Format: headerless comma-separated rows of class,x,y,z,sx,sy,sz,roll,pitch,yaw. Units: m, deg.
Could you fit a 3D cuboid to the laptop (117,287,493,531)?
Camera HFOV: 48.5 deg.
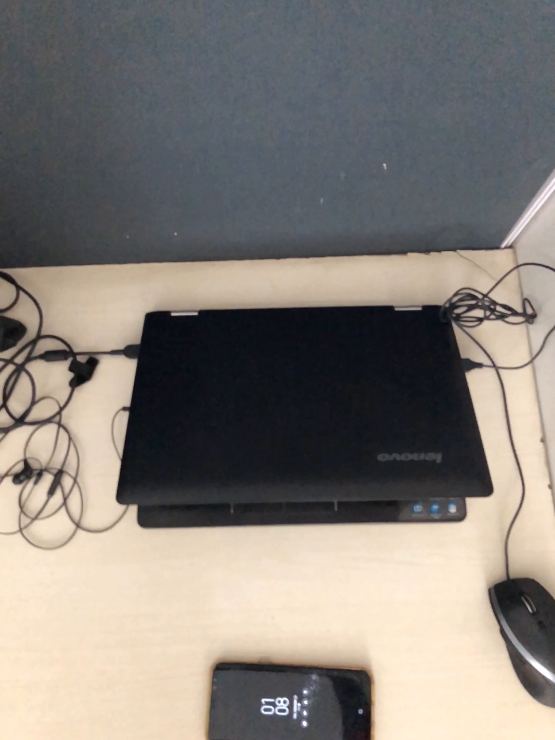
laptop,0.022,0.040,0.604,0.326,0.083,0.219,-1,74,0
